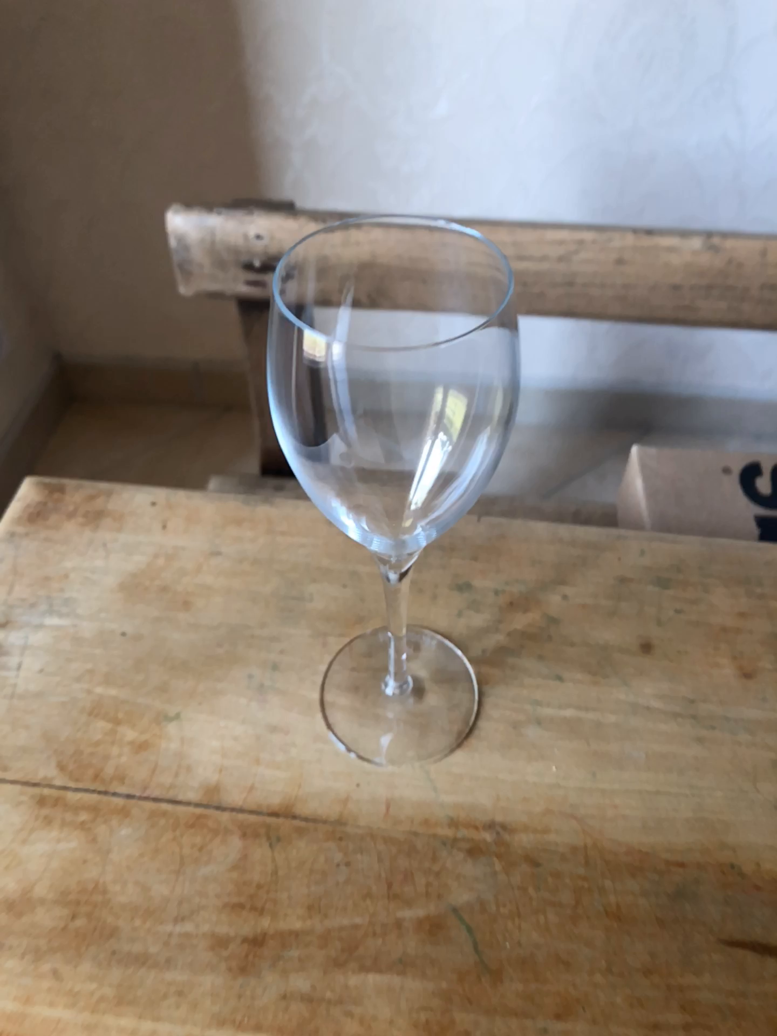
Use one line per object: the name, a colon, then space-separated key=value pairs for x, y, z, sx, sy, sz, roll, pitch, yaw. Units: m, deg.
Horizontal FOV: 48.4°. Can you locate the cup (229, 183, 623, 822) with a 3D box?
cup: x=0.007 y=0.011 z=0.291 sx=0.080 sy=0.209 sz=0.080 roll=-1 pitch=47 yaw=1
